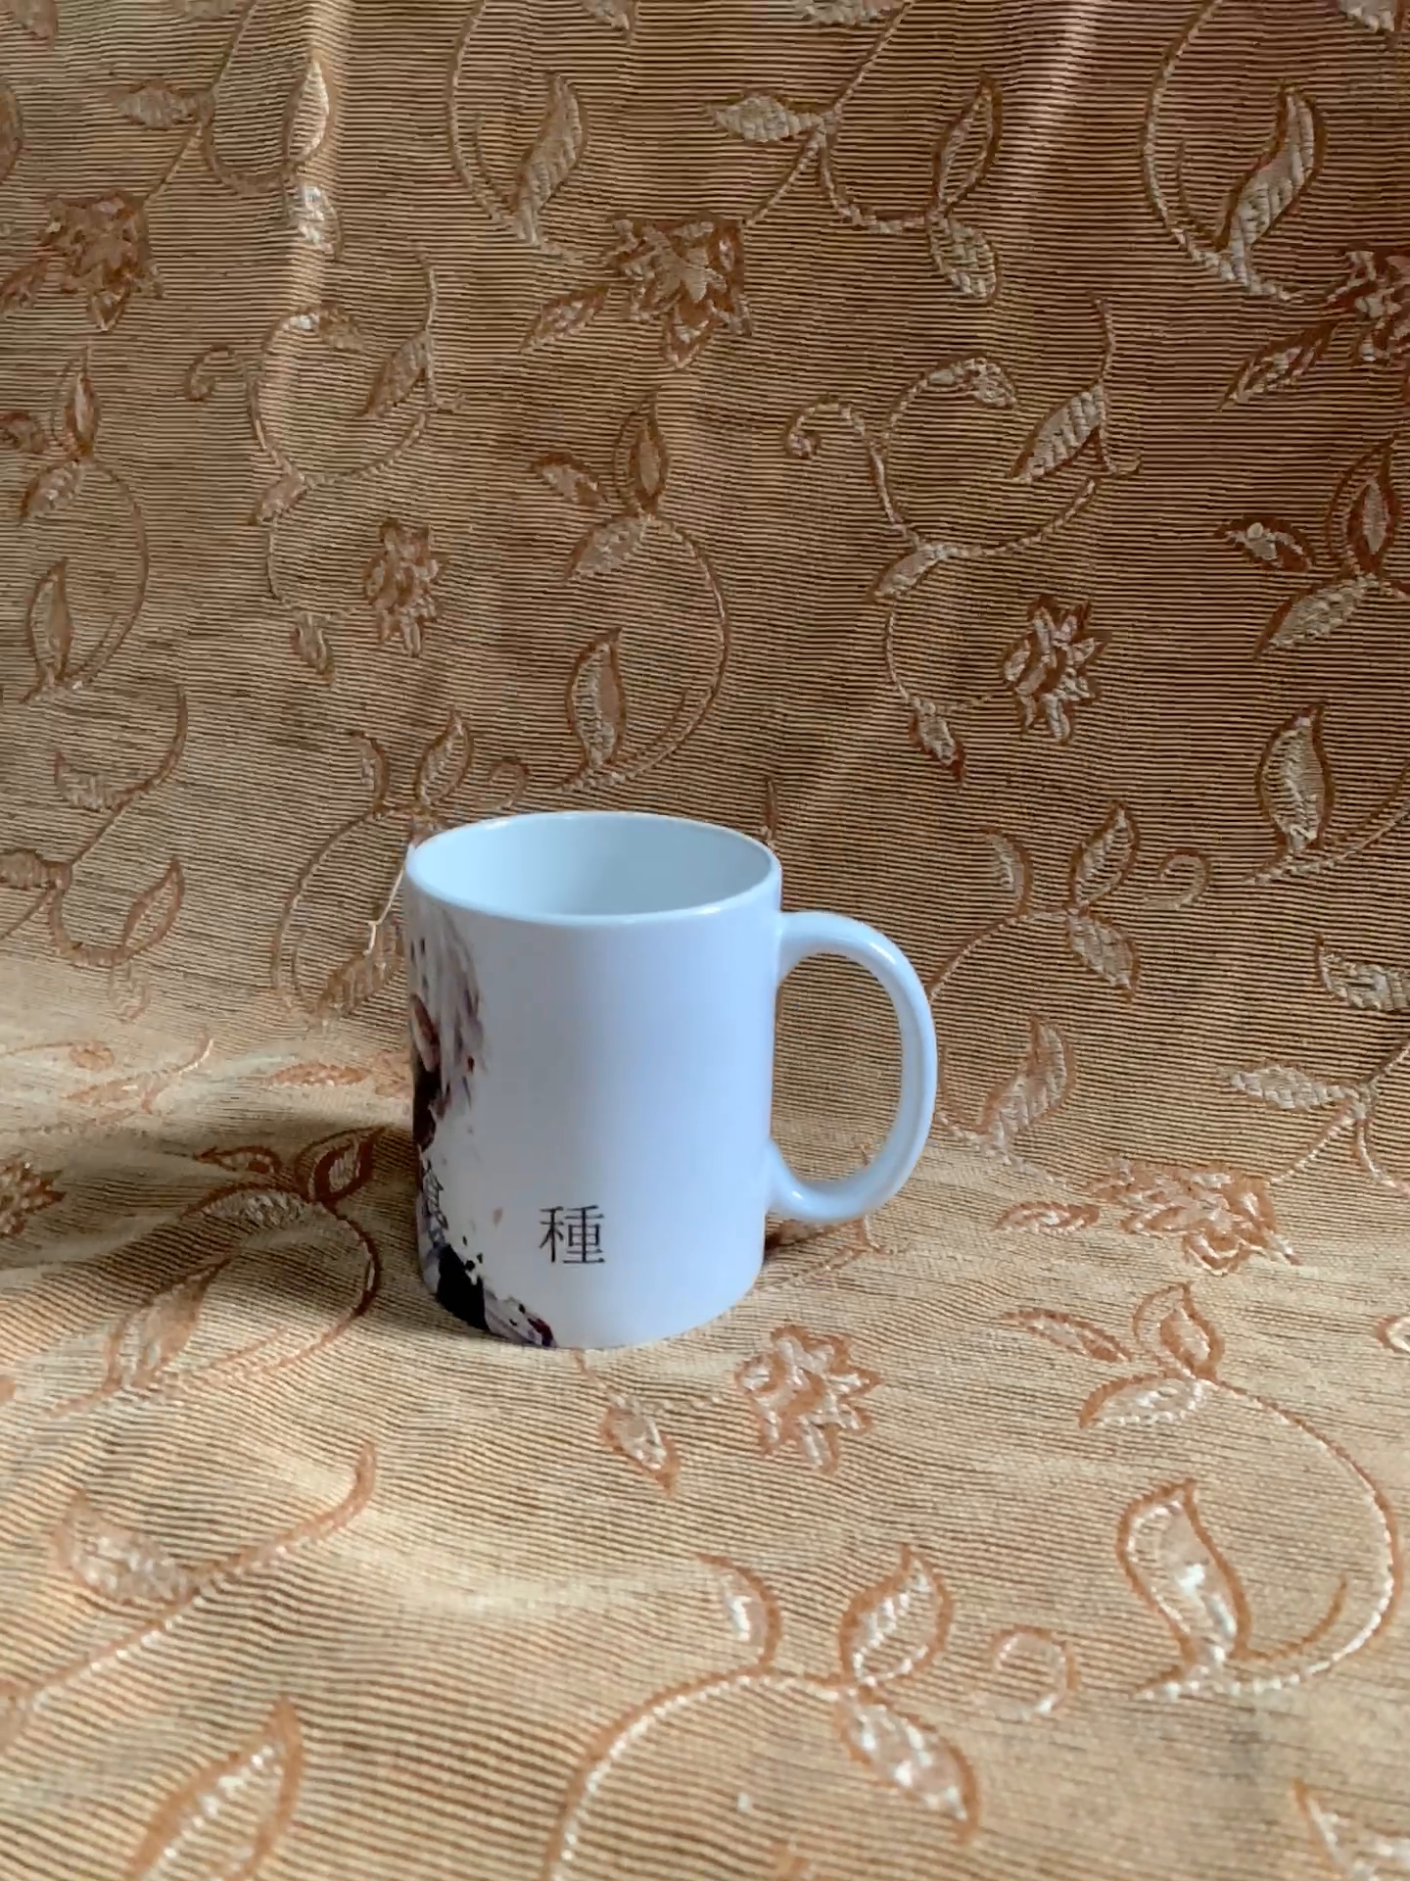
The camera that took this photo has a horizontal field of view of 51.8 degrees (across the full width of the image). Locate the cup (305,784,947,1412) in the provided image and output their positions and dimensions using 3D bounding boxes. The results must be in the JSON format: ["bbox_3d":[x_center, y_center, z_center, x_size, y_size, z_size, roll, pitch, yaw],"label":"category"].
[{"bbox_3d":[-0.012,0.028,0.321,0.120,0.102,0.080,5,19,9],"label":"cup"}]
